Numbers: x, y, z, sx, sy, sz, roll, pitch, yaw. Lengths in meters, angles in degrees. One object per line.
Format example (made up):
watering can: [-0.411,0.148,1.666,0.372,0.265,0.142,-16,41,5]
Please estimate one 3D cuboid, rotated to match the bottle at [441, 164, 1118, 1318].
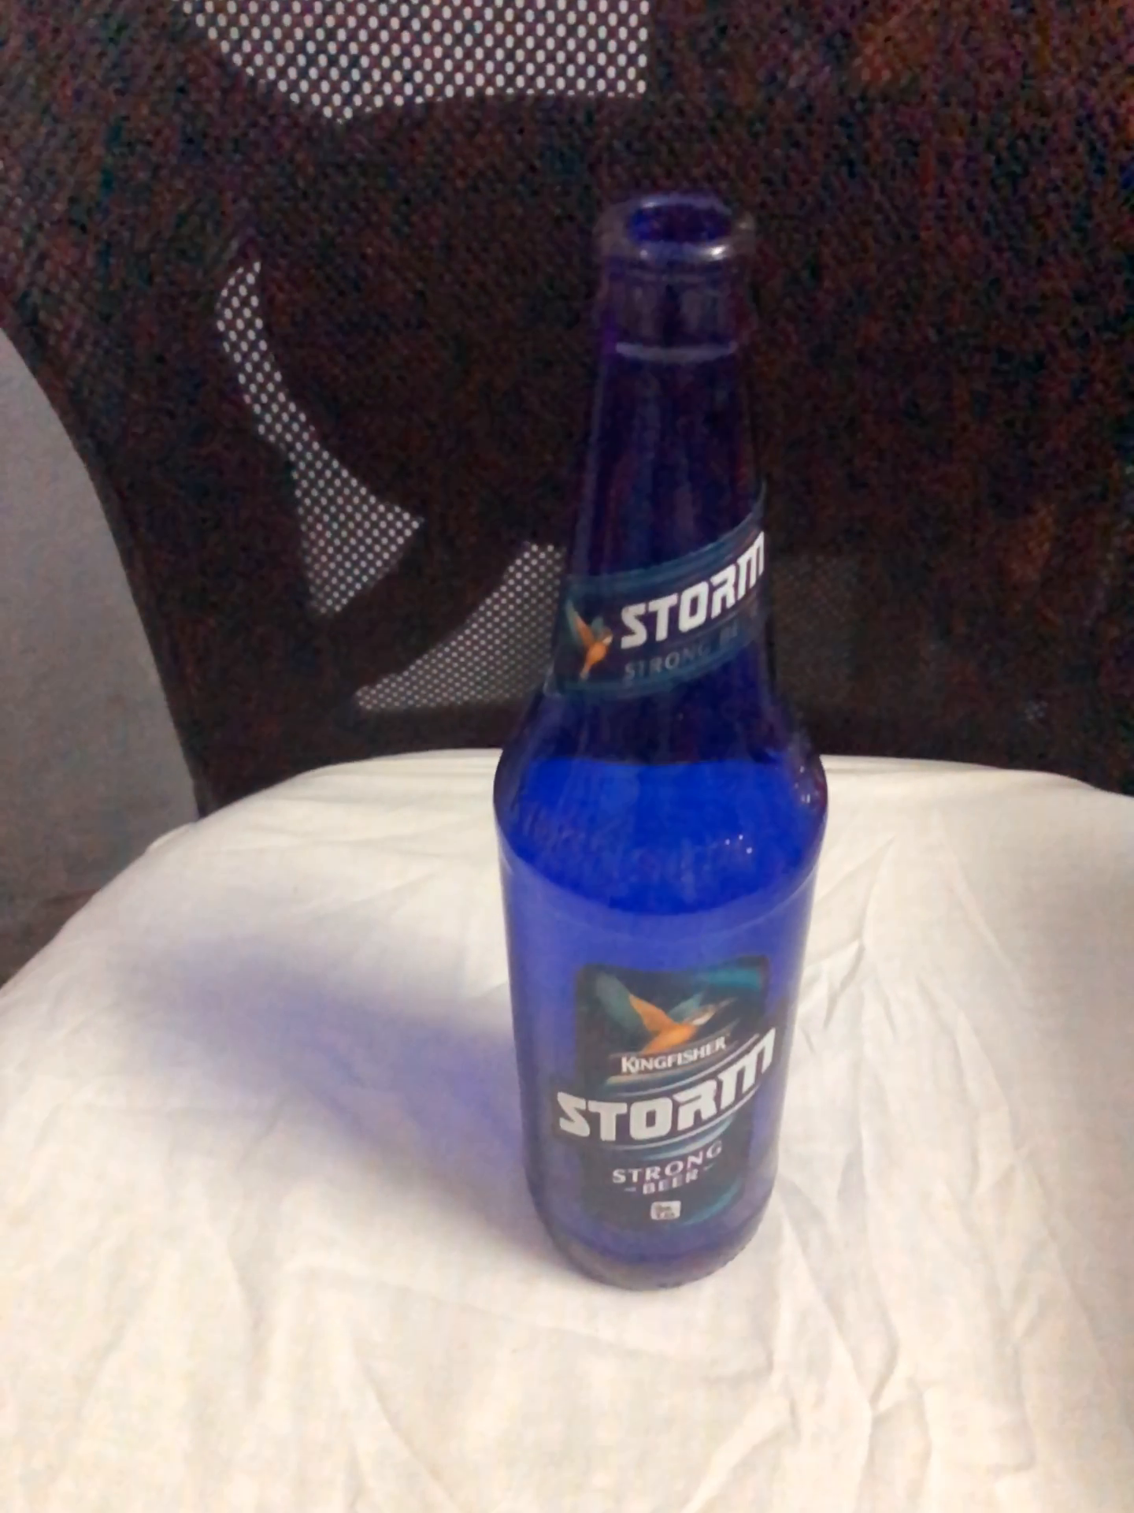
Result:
bottle: [0.024,0.025,0.262,0.080,0.259,0.070,0,43,-1]
